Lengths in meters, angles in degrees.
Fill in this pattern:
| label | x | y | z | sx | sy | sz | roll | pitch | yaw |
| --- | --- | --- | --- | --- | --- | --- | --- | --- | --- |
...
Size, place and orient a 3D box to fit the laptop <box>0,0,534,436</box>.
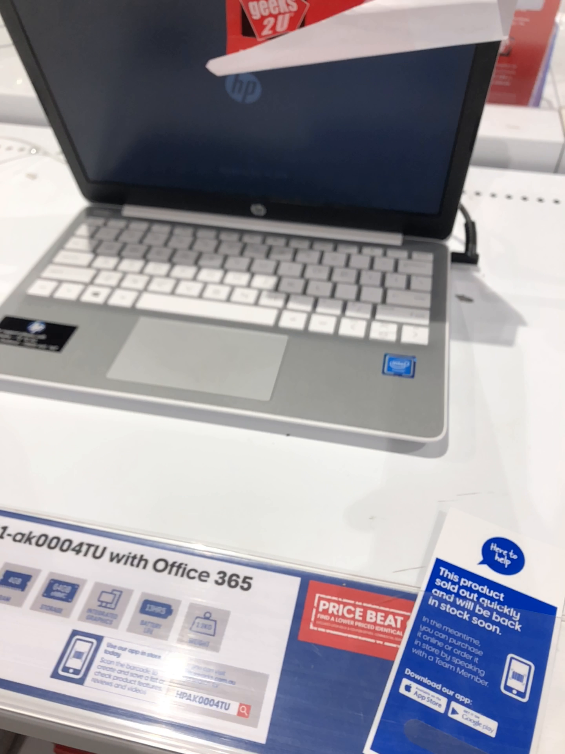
| label | x | y | z | sx | sy | sz | roll | pitch | yaw |
| --- | --- | --- | --- | --- | --- | --- | --- | --- | --- |
| laptop | -0.036 | -0.113 | 0.346 | 0.273 | 0.173 | 0.184 | 8 | 45 | 8 |
